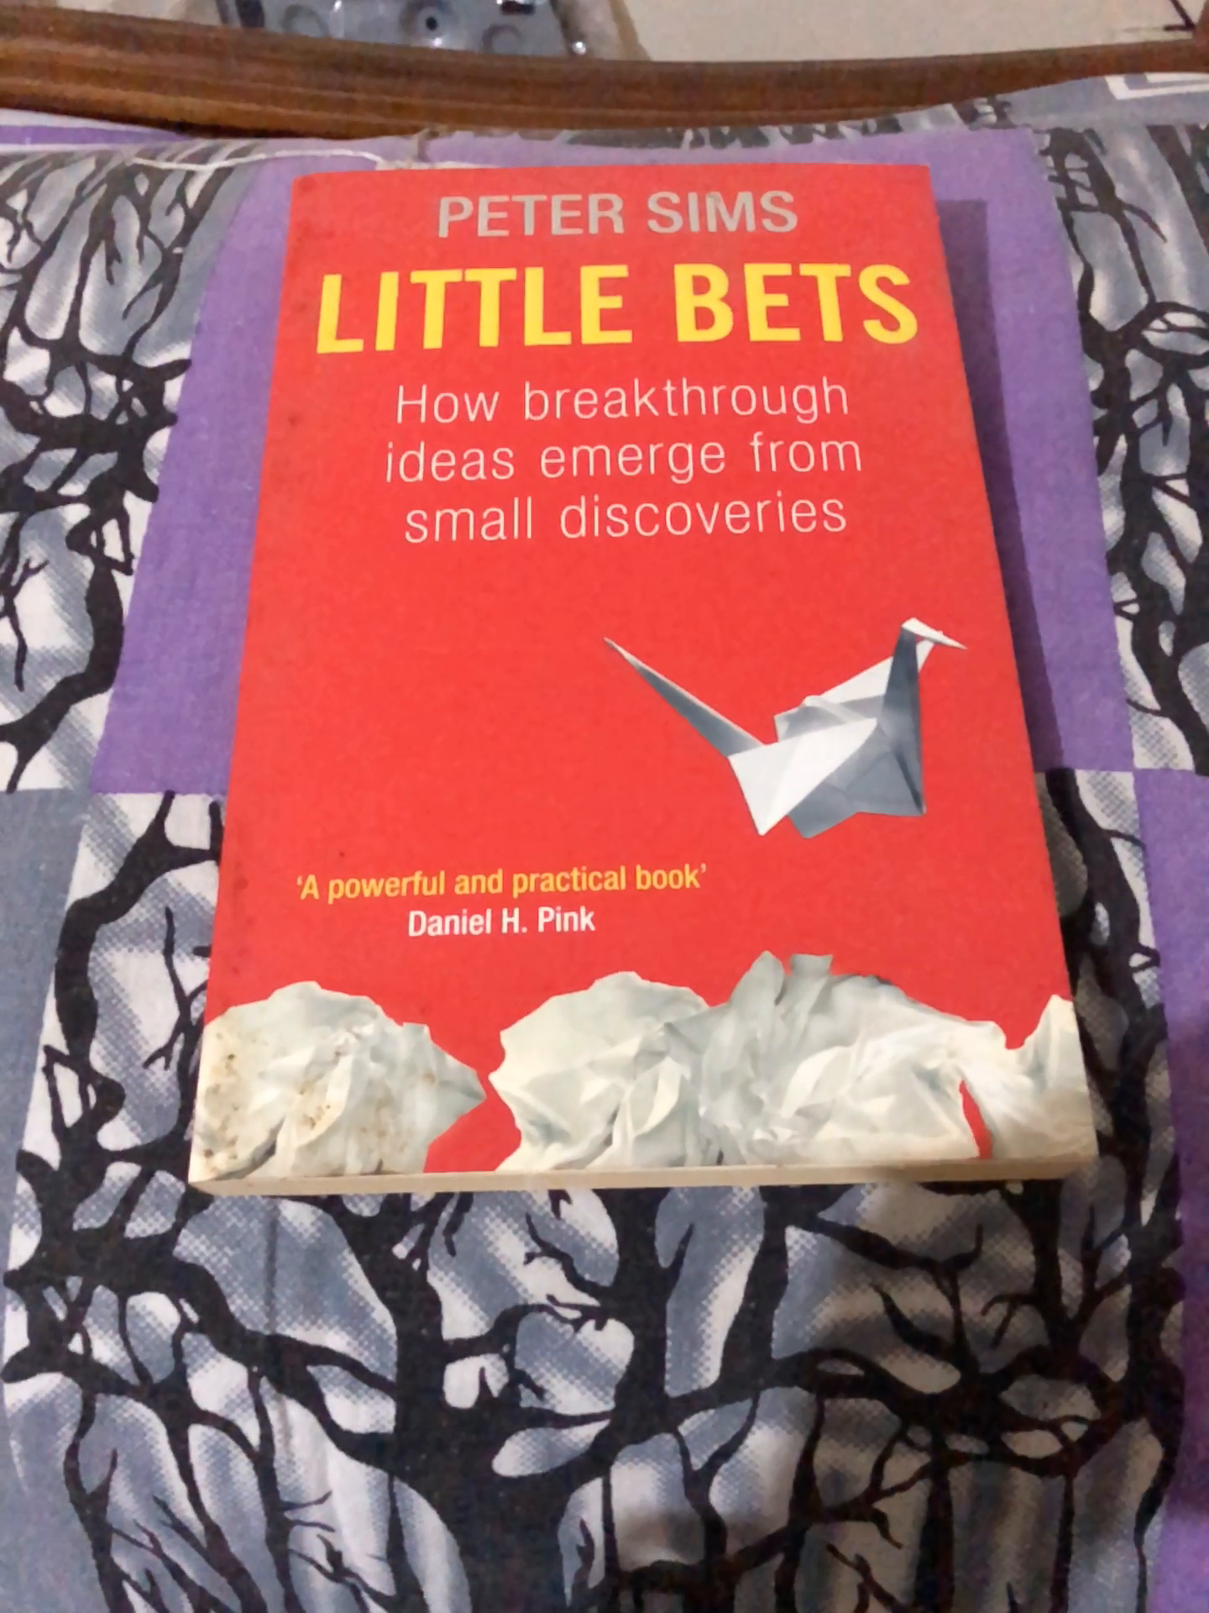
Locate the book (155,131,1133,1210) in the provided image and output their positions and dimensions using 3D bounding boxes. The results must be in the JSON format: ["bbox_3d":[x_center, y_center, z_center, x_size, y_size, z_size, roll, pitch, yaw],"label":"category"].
[{"bbox_3d":[0.005,-0.045,0.271,0.150,0.020,0.240,-1,62,2],"label":"book"}]
